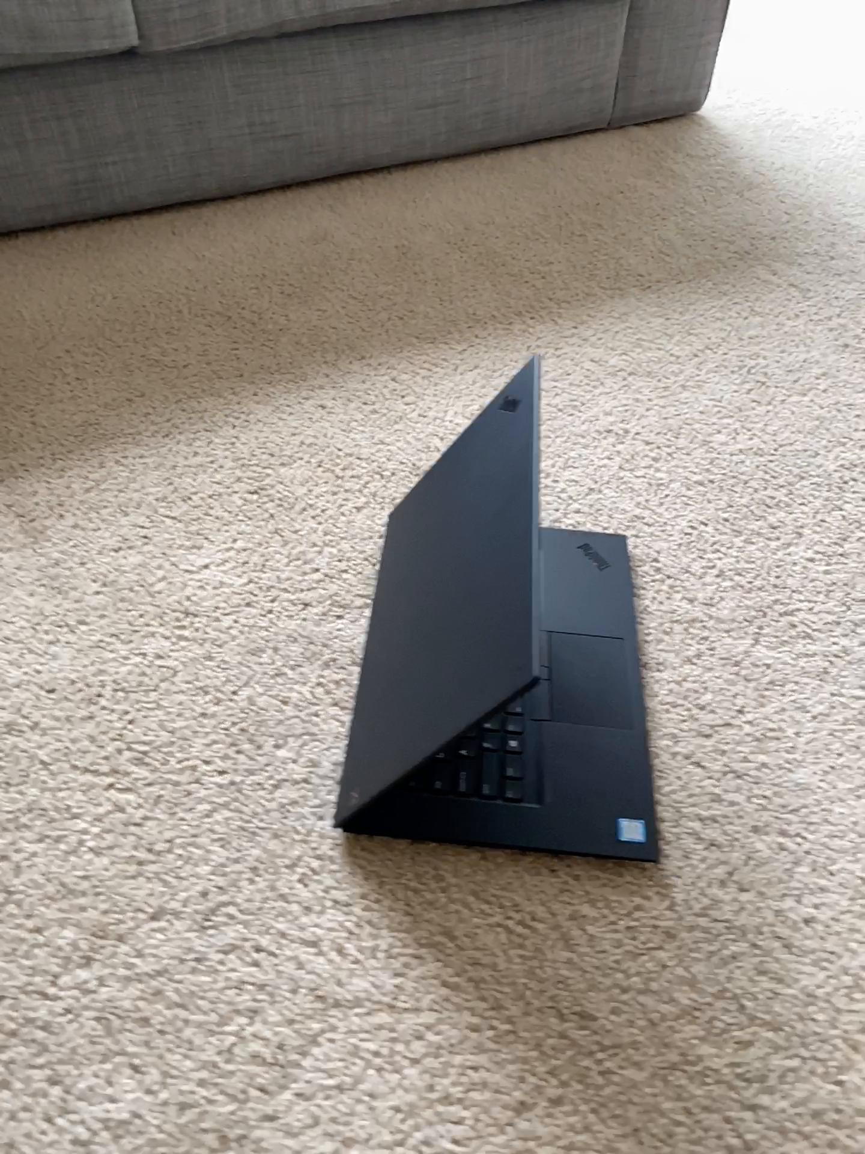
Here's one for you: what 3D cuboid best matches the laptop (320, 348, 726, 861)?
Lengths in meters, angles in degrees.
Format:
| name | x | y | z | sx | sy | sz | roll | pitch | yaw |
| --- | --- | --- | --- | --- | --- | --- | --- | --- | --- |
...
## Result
| name | x | y | z | sx | sy | sz | roll | pitch | yaw |
| --- | --- | --- | --- | --- | --- | --- | --- | --- | --- |
| laptop | 0.066 | 0.006 | 0.721 | 0.243 | 0.198 | 0.356 | 6 | 46 | 2 |
